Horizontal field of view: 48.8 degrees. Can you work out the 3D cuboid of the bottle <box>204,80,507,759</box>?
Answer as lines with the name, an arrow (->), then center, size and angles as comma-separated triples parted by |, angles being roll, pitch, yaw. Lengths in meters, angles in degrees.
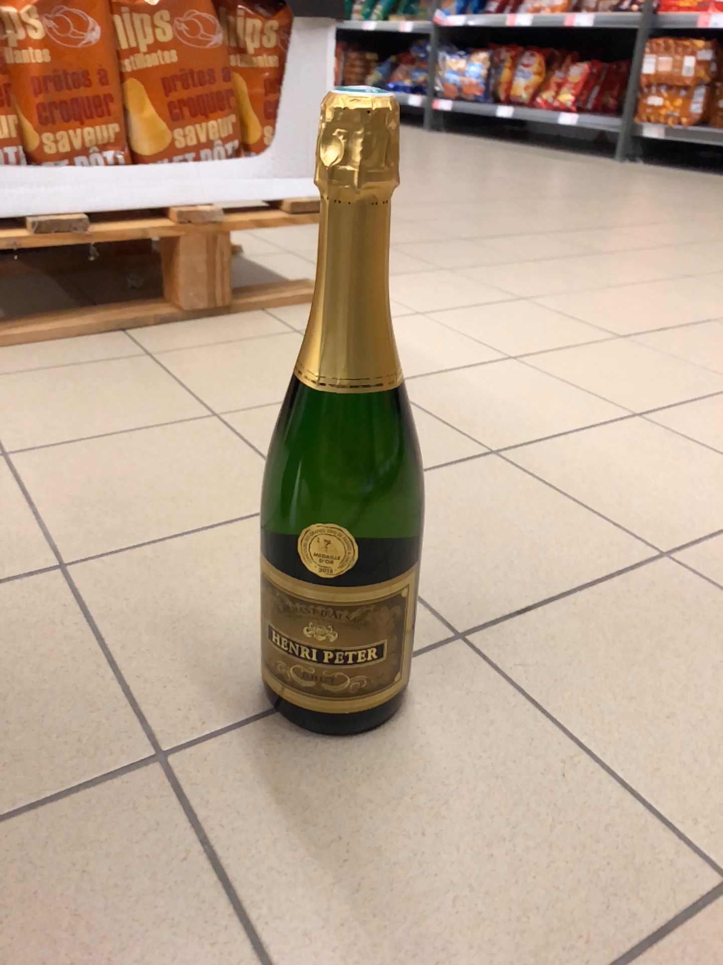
bottle -> -0.003, -0.025, 0.396 | 0.100, 0.308, 0.101 | 2, 27, -1
